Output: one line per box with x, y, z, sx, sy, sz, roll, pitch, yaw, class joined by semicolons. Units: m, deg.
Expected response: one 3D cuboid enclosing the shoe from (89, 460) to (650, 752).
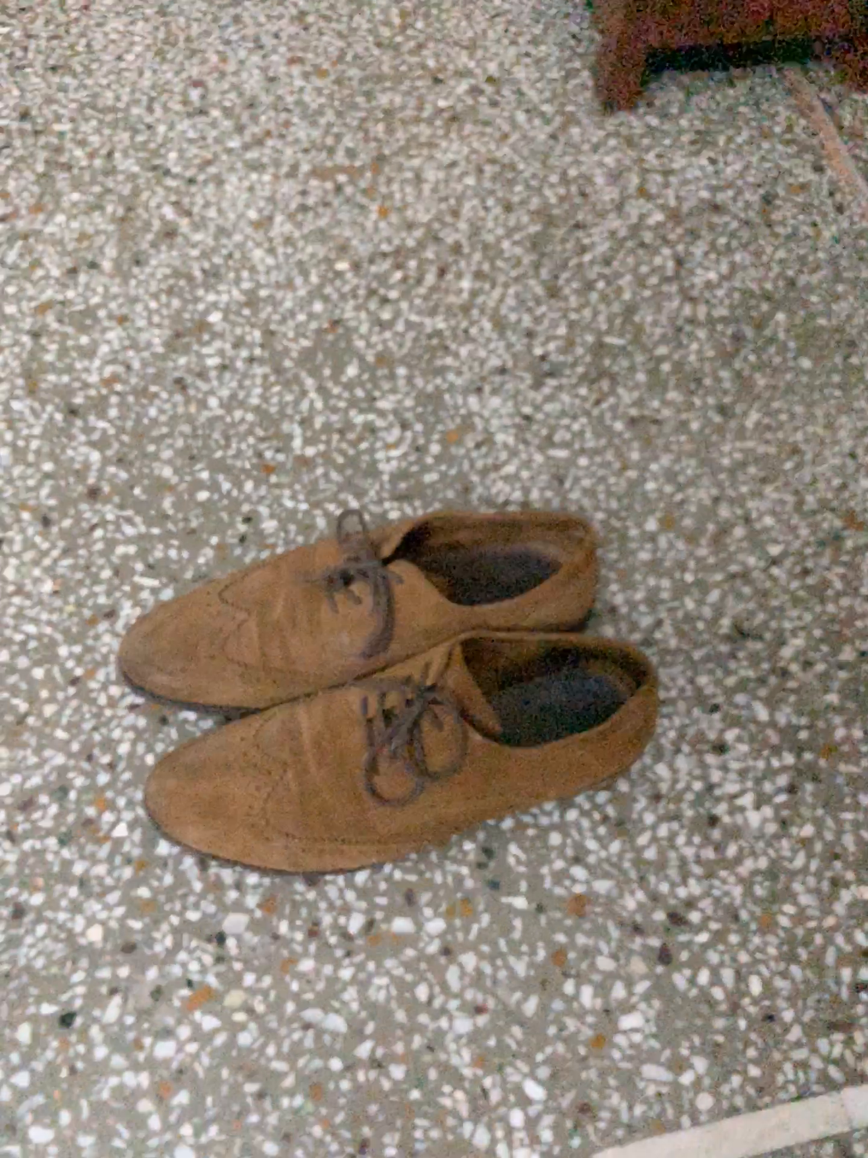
-0.041;0.018;0.565;0.310;0.110;0.100;-8;63;-6;shoe

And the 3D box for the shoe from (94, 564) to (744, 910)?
-0.010;0.089;0.498;0.310;0.110;0.100;-10;63;-7;shoe
